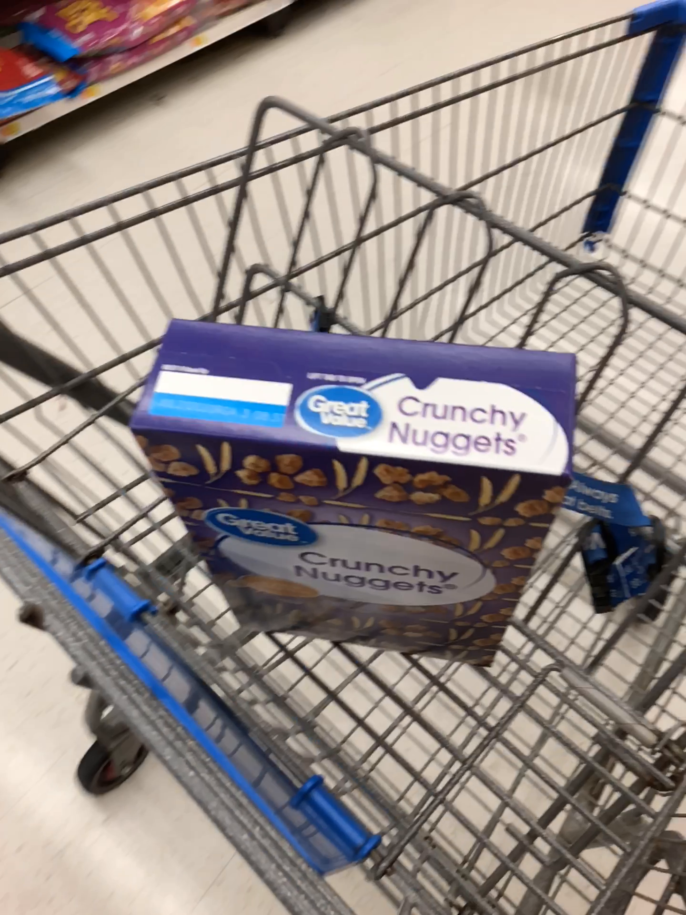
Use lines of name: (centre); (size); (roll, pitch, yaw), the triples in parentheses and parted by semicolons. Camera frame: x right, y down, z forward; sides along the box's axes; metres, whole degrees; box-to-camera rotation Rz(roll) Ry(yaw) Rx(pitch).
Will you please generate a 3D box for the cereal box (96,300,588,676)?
cereal box: (0.003, 0.035, 0.377); (0.170, 0.240, 0.060); (6, 59, 5)
